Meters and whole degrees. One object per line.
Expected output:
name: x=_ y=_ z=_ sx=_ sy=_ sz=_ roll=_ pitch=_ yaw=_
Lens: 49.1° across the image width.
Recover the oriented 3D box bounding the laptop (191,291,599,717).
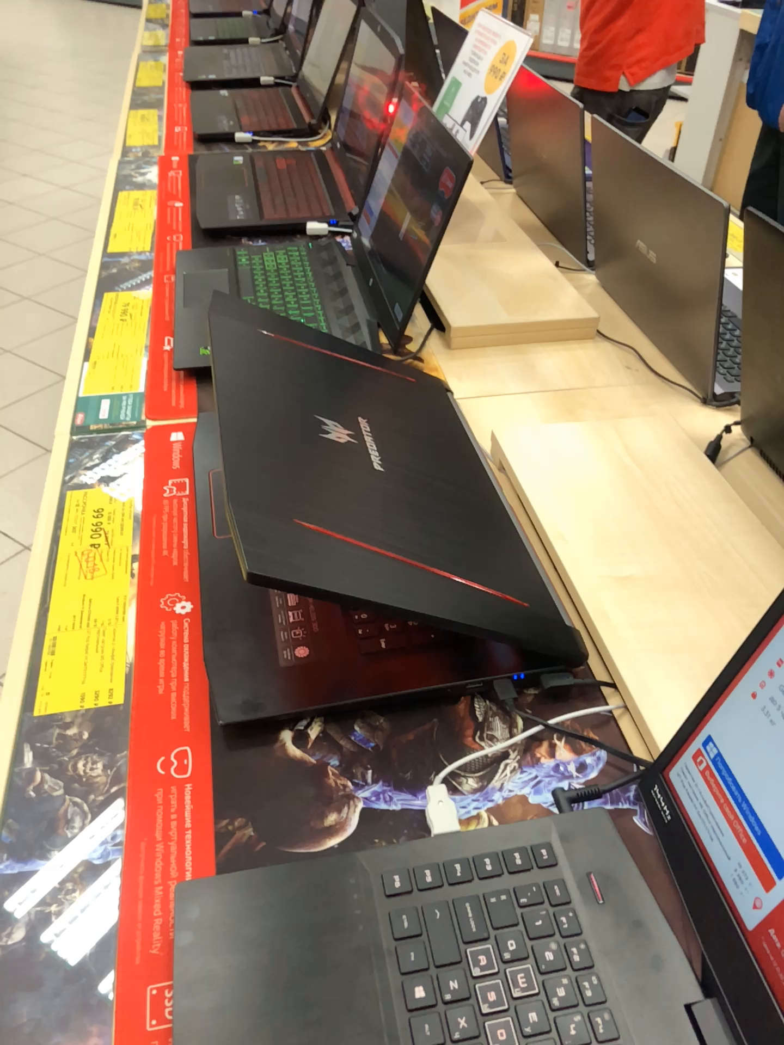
laptop: x=-0.033 y=-0.053 z=0.754 sx=0.261 sy=0.124 sz=0.421 roll=-7 pitch=38 yaw=-9

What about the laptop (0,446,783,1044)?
laptop: x=0.086 y=0.209 z=0.303 sx=0.355 sy=0.251 sz=0.379 roll=-7 pitch=38 yaw=-7

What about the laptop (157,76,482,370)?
laptop: x=-0.112 y=-0.400 z=1.108 sx=0.342 sy=0.230 sz=0.352 roll=-6 pitch=40 yaw=-8
